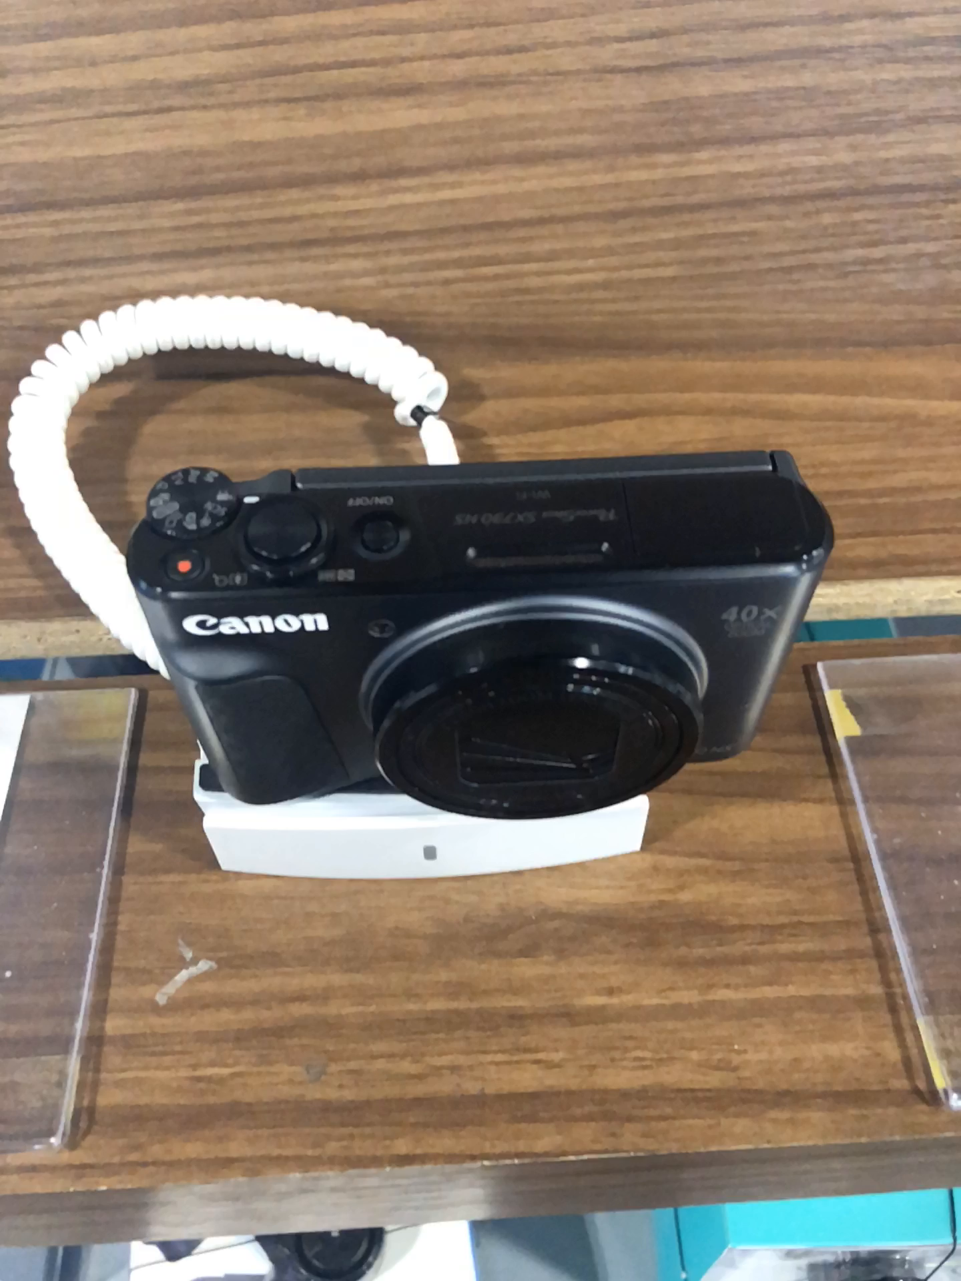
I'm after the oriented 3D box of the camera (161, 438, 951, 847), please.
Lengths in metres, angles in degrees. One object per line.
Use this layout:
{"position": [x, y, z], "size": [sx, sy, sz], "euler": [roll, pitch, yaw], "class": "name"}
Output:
{"position": [0.010, 0.003, 0.184], "size": [0.109, 0.063, 0.037], "euler": [-2, 55, -1], "class": "camera"}
